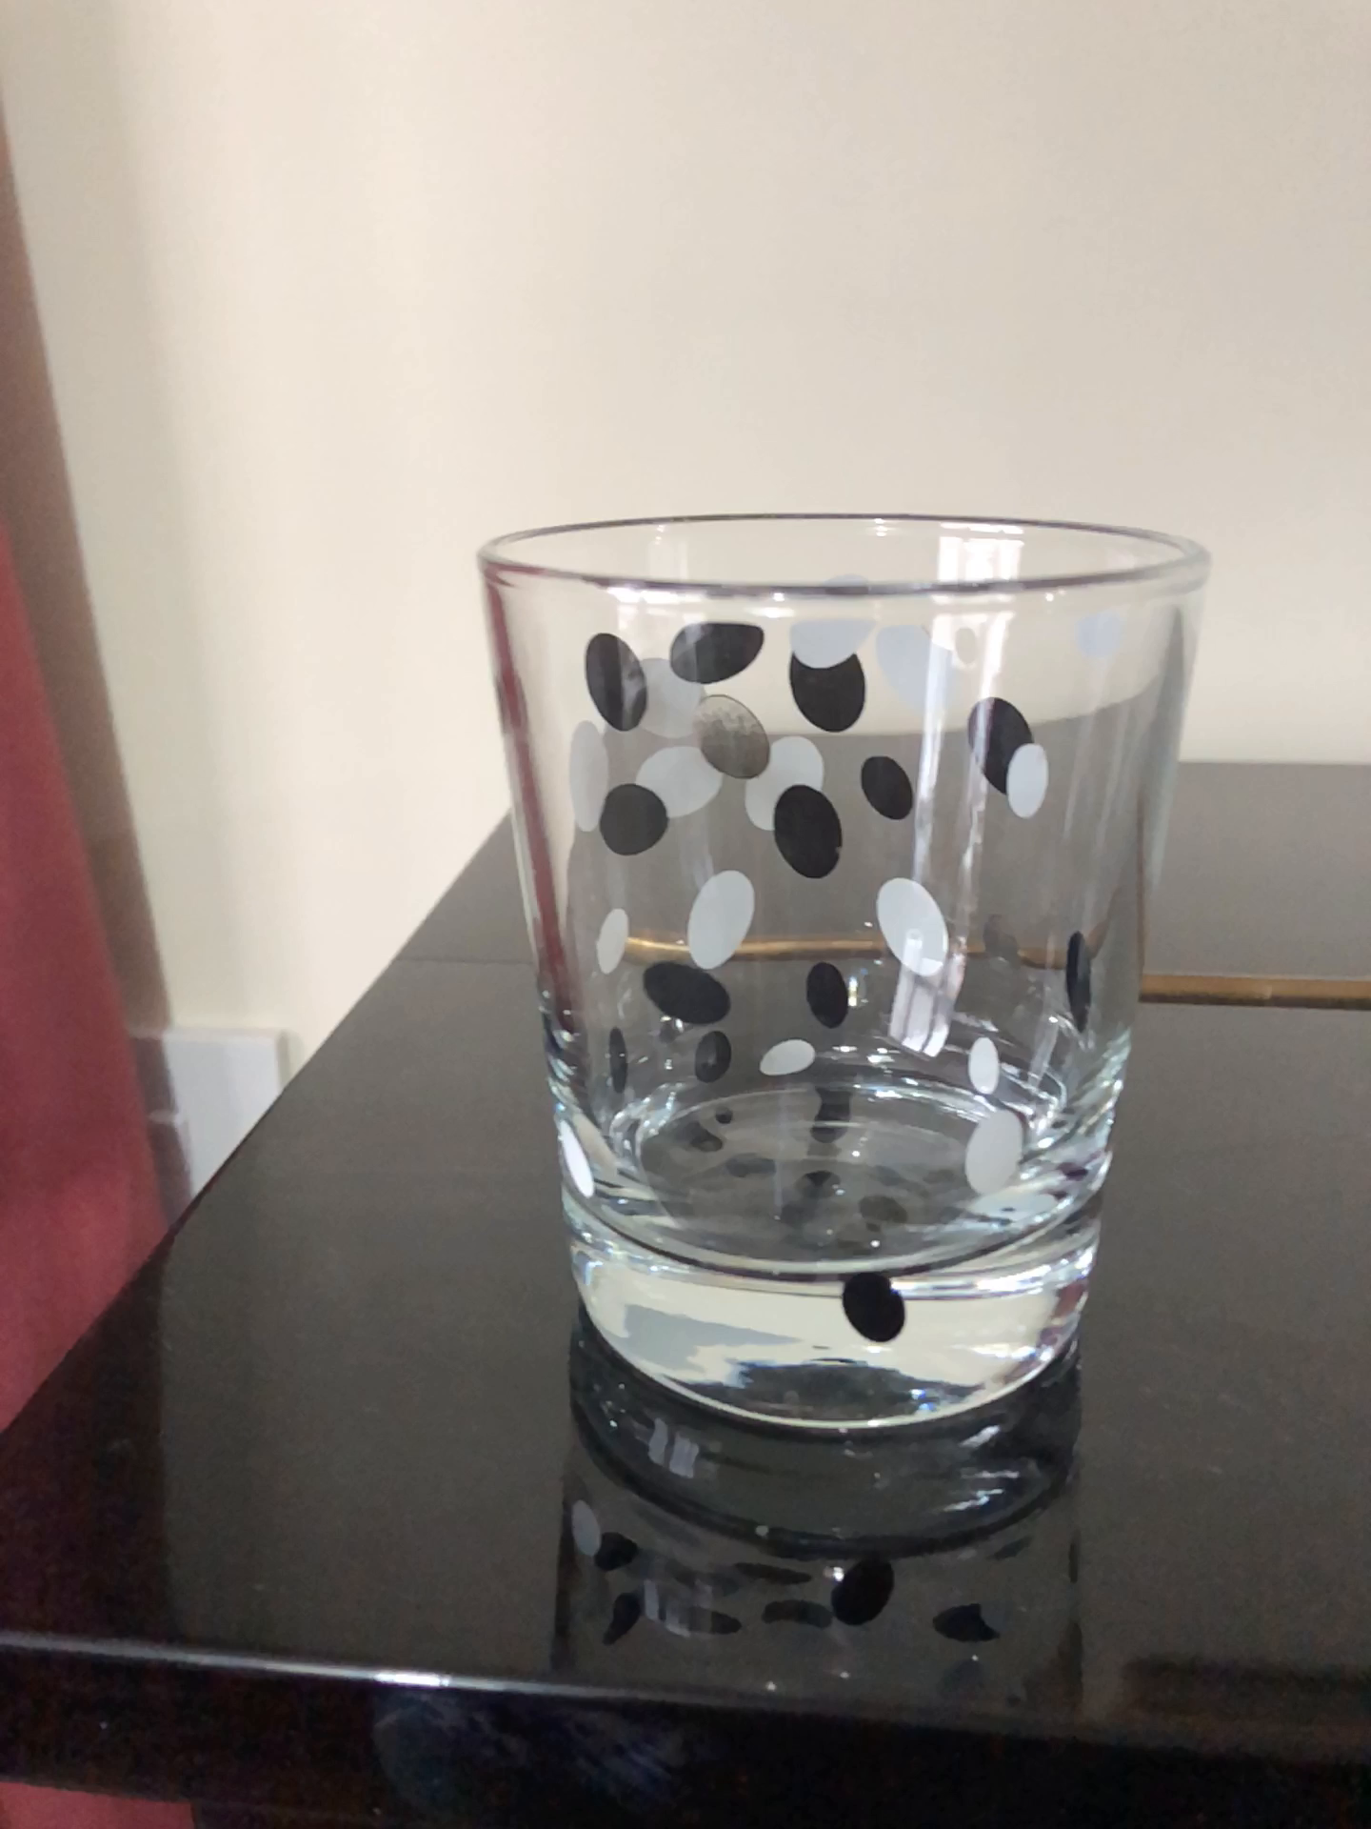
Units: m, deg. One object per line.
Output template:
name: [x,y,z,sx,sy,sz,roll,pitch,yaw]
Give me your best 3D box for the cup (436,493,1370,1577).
cup: [0.021,0.004,0.185,0.080,0.099,0.070,-9,20,-23]
